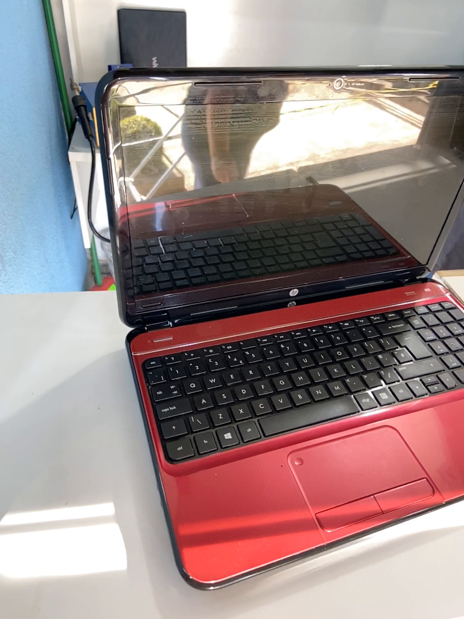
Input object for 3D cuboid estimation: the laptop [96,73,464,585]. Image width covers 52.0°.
[{"bbox_3d":[0.111,-0.017,0.351,0.357,0.220,0.228,-10,42,-16],"label":"laptop"}]
